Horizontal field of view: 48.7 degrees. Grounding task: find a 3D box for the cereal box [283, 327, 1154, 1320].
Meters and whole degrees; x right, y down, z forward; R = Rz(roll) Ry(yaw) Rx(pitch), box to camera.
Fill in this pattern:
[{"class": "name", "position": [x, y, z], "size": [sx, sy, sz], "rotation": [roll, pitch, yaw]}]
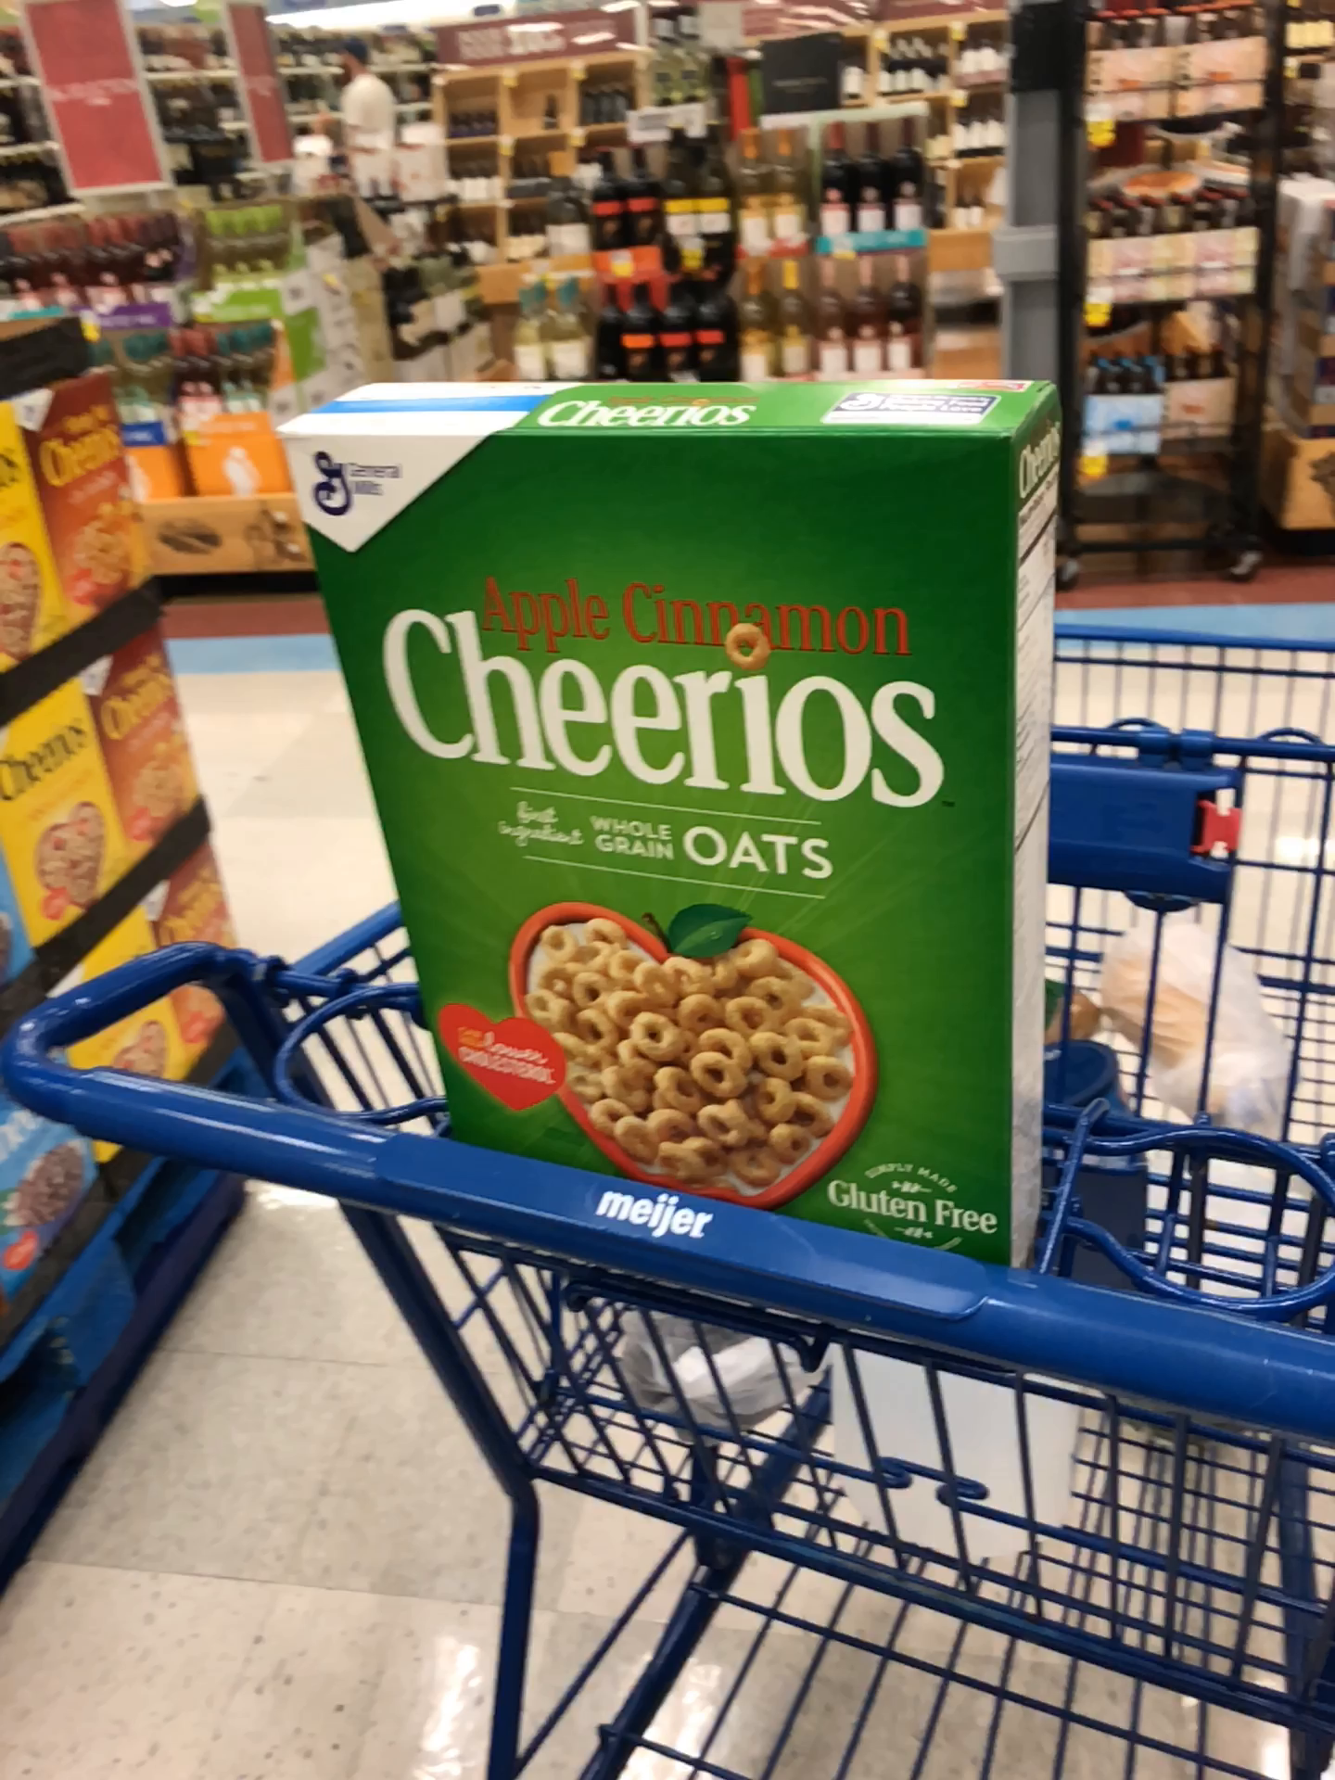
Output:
[{"class": "cereal box", "position": [0.020, -0.013, 0.429], "size": [0.210, 0.269, 0.050], "rotation": [7, 32, 22]}]
